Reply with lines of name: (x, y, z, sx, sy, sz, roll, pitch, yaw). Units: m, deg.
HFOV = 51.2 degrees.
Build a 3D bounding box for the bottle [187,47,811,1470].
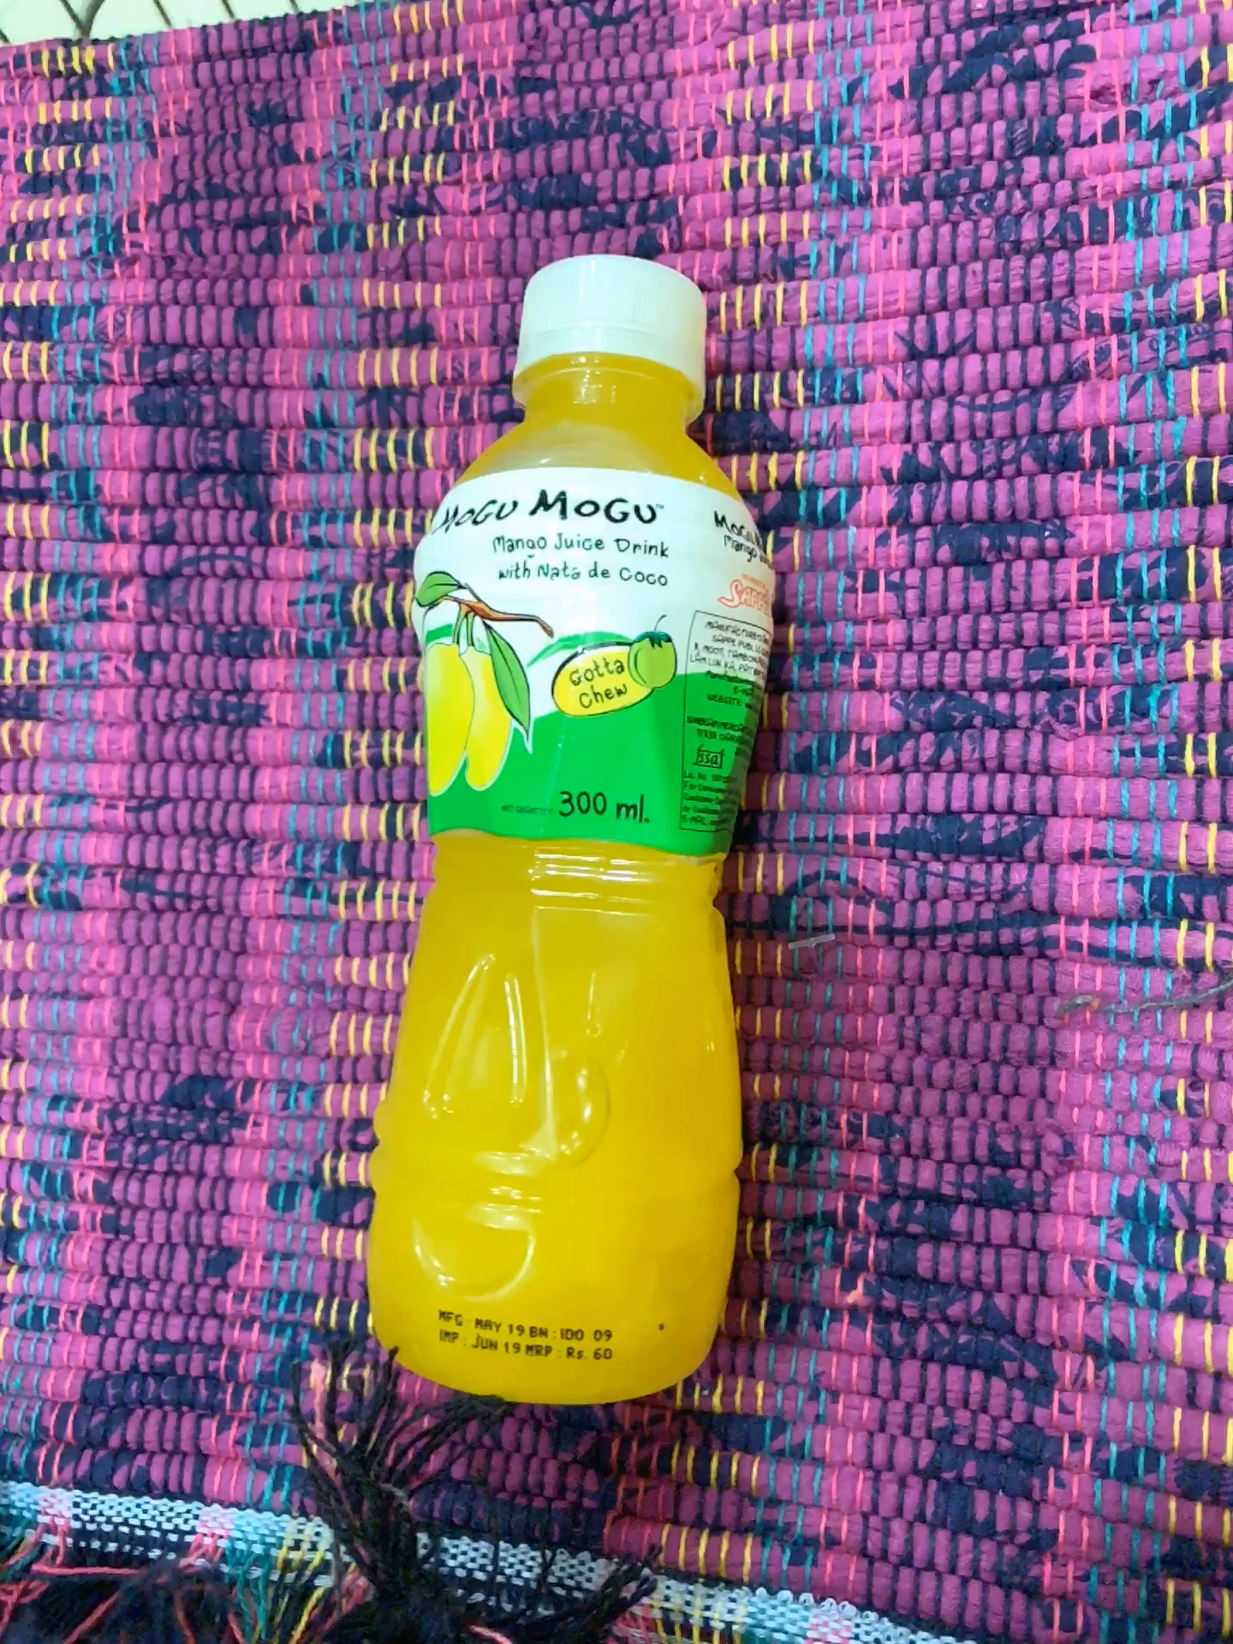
bottle: (-0.009, -0.009, 0.178, 0.060, 0.060, 0.160, 3, 85, 11)
